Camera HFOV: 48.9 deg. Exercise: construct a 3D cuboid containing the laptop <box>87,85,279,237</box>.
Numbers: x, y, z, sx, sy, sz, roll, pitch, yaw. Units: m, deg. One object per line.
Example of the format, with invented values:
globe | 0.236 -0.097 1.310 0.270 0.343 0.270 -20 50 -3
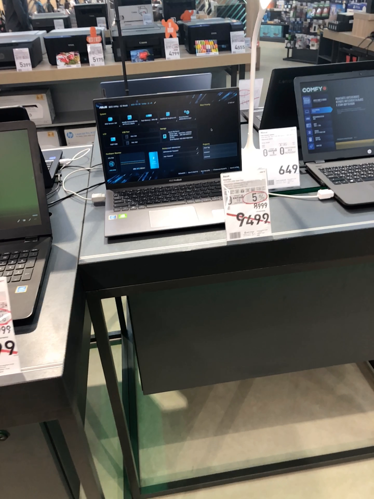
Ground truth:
laptop | -0.020 -0.212 0.925 0.355 0.200 0.288 -7 34 -3
